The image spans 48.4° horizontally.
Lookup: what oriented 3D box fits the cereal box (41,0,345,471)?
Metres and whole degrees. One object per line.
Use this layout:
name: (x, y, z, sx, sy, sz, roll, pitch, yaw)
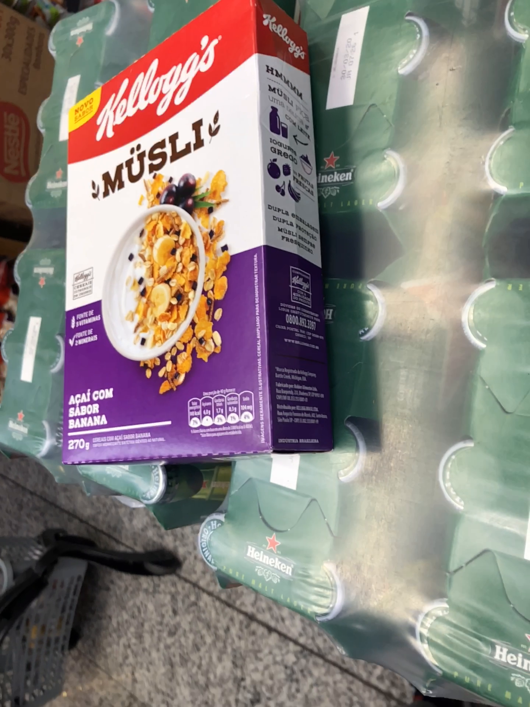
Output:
cereal box: (-0.044, -0.045, 0.276, 0.151, 0.040, 0.190, -11, 77, 39)
